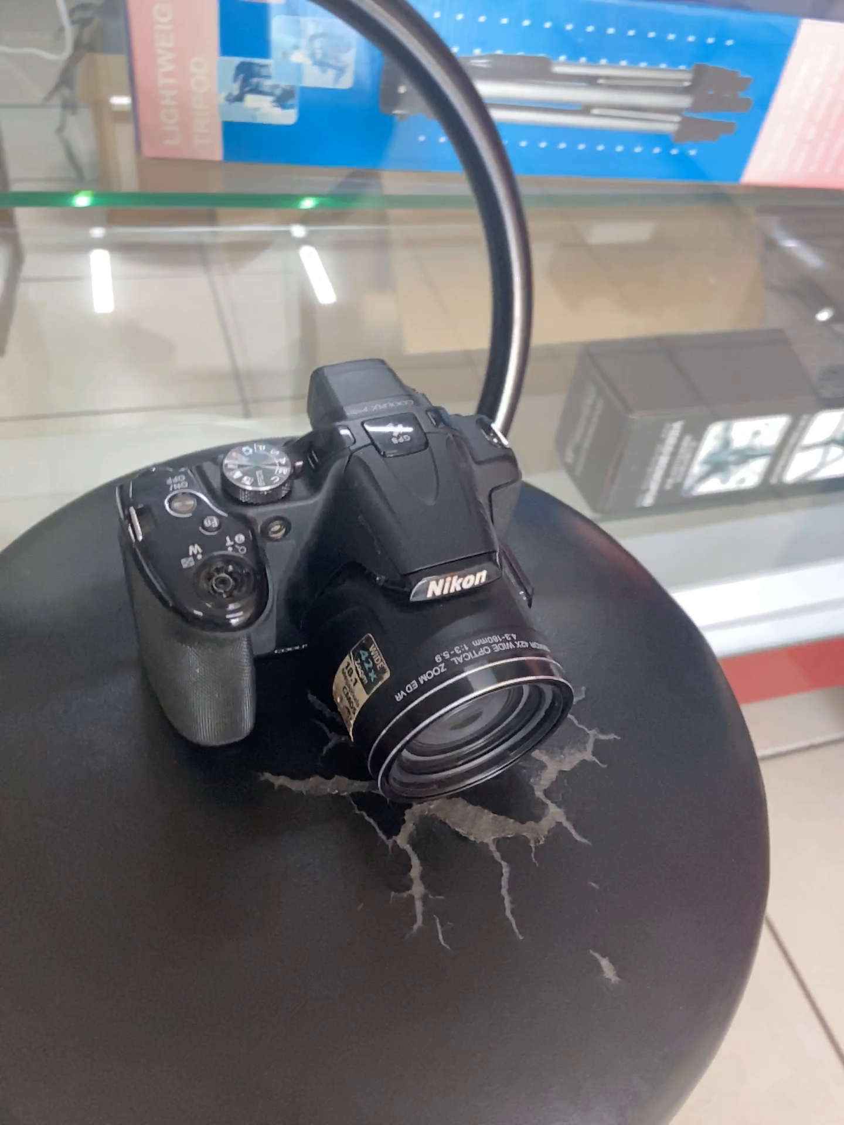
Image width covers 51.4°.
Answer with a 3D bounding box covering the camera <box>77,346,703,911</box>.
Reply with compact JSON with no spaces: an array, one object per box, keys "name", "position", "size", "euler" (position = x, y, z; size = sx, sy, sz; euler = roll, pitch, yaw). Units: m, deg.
[{"name":"camera","position":[-0.017,0.008,0.258],"size":[0.130,0.070,0.120],"euler":[-15,50,-22]}]
